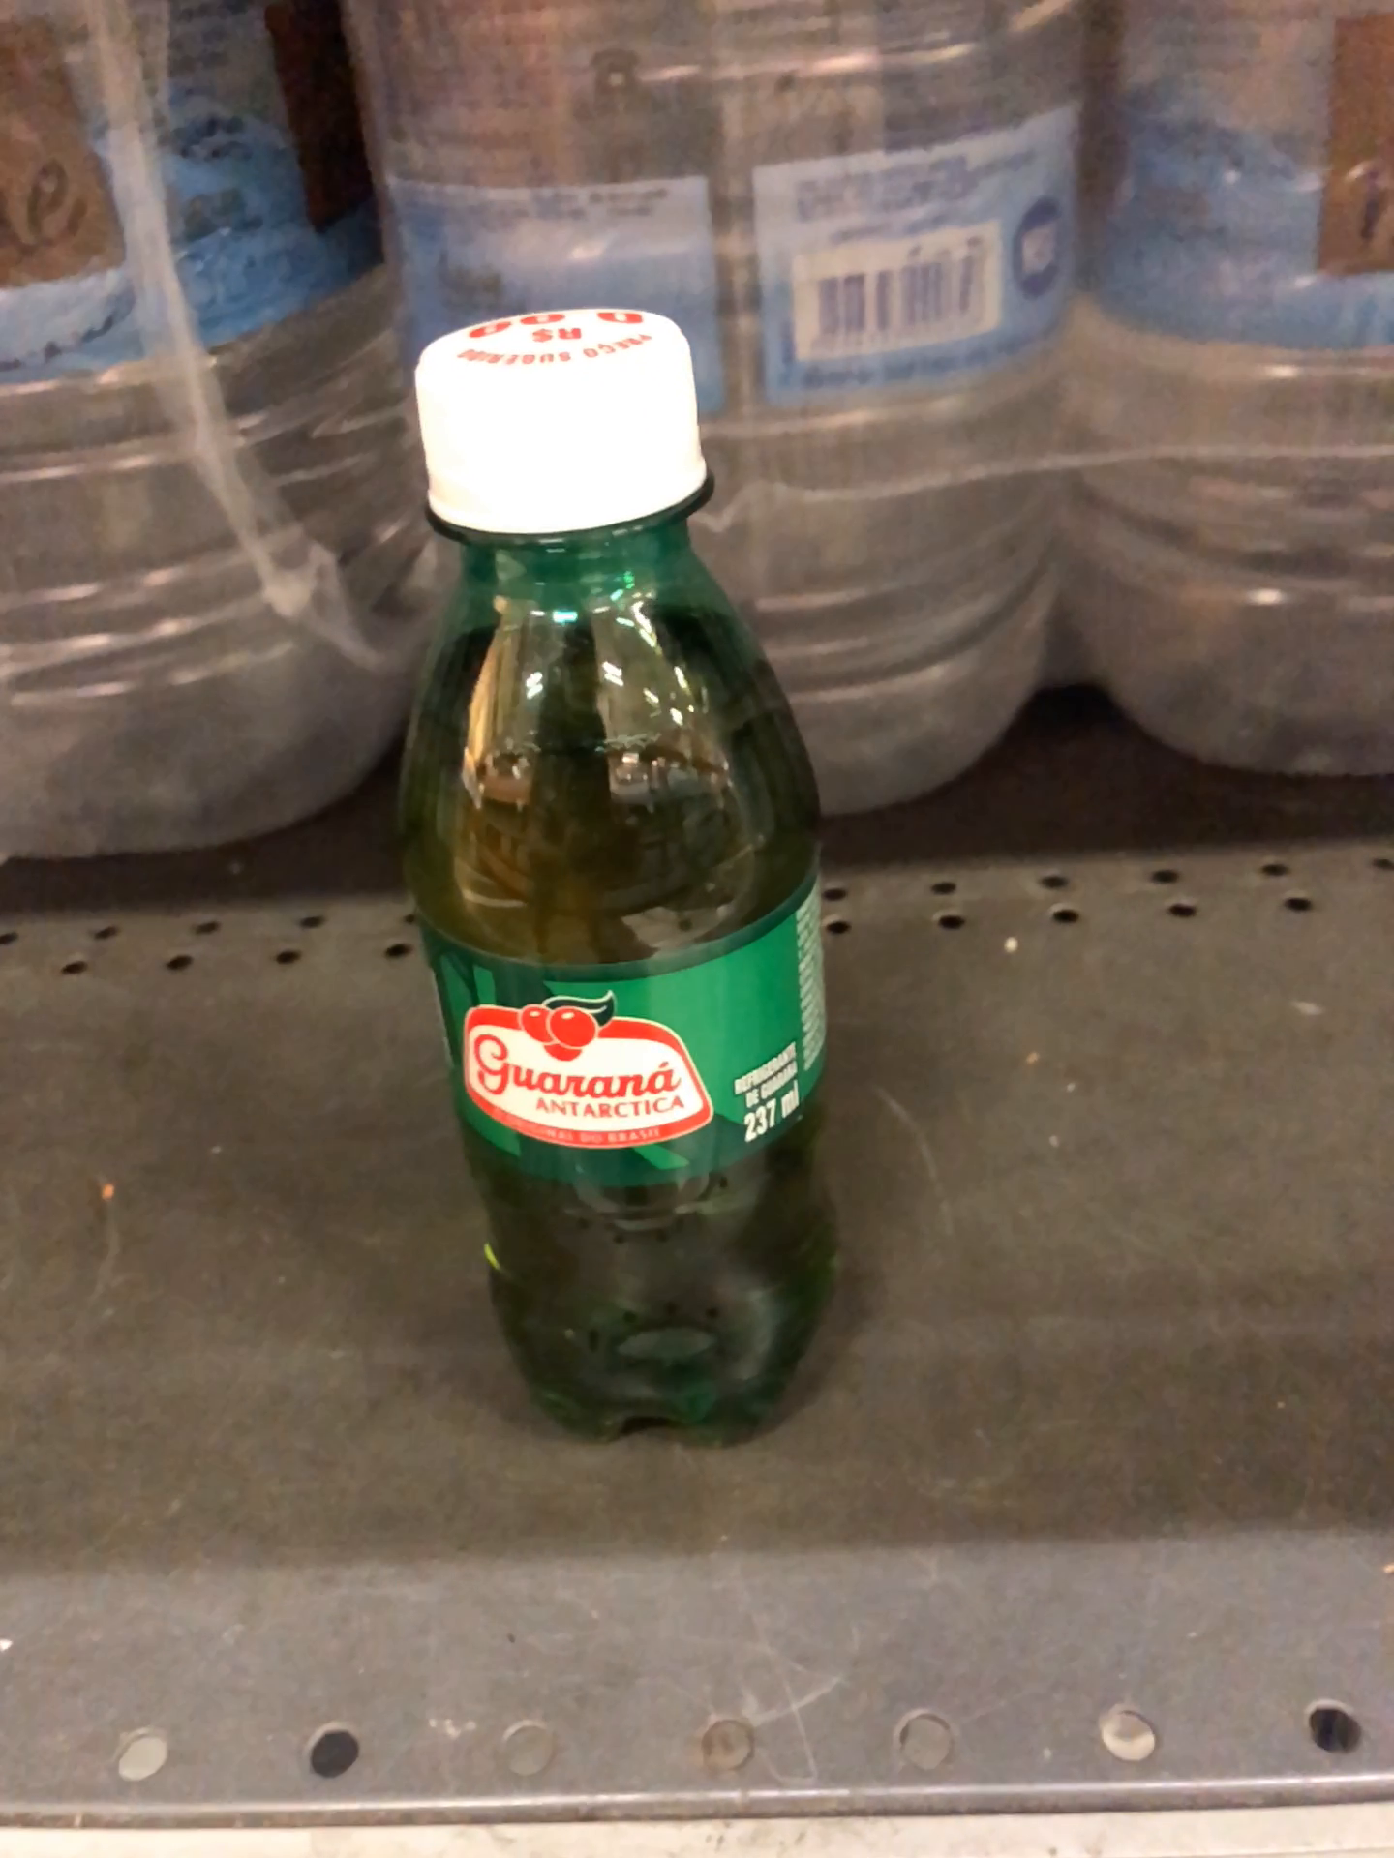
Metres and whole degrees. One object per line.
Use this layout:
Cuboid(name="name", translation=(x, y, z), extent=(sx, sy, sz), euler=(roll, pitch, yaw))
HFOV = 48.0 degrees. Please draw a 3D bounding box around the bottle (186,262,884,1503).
Cuboid(name="bottle", translation=(-0.007, 0.000, 0.204), extent=(0.060, 0.149, 0.060), euler=(-4, 34, 2))
